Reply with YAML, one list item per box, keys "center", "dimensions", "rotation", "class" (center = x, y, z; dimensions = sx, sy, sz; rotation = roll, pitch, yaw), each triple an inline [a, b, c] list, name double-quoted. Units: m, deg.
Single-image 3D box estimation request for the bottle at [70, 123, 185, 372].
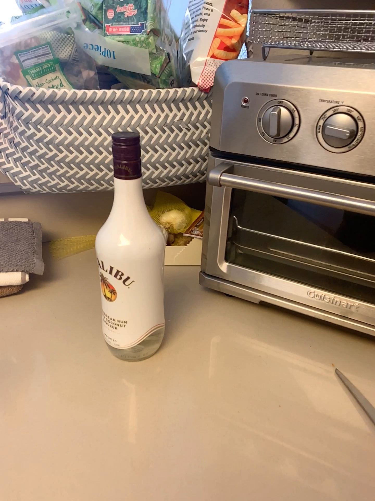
- center: [-0.059, 0.002, 0.433]
  dimensions: [0.080, 0.258, 0.080]
  rotation: [2, 28, -1]
  class: "bottle"
